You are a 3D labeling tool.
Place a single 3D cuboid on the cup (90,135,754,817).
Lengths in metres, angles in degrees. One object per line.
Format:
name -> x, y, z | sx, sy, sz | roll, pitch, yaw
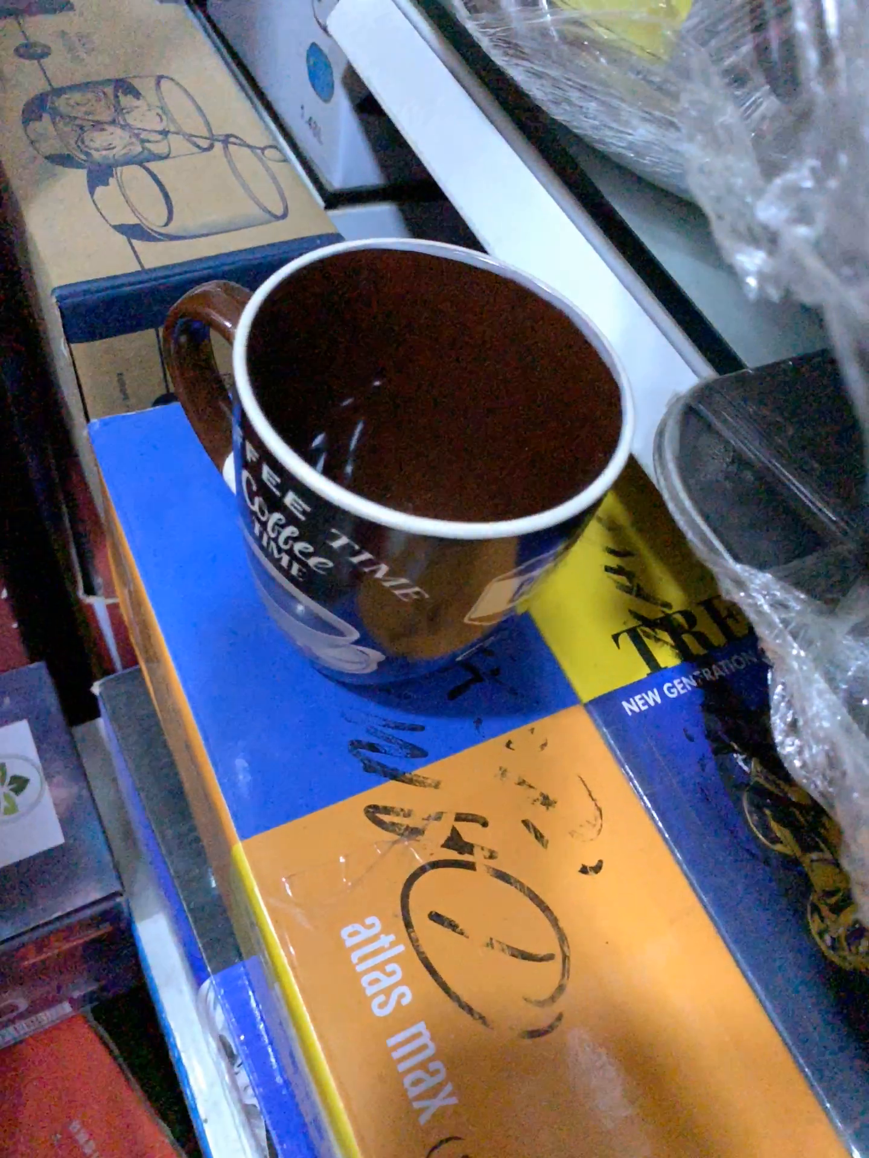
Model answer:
cup -> -0.009, -0.024, 0.202 | 0.070, 0.080, 0.110 | -34, 69, -30
